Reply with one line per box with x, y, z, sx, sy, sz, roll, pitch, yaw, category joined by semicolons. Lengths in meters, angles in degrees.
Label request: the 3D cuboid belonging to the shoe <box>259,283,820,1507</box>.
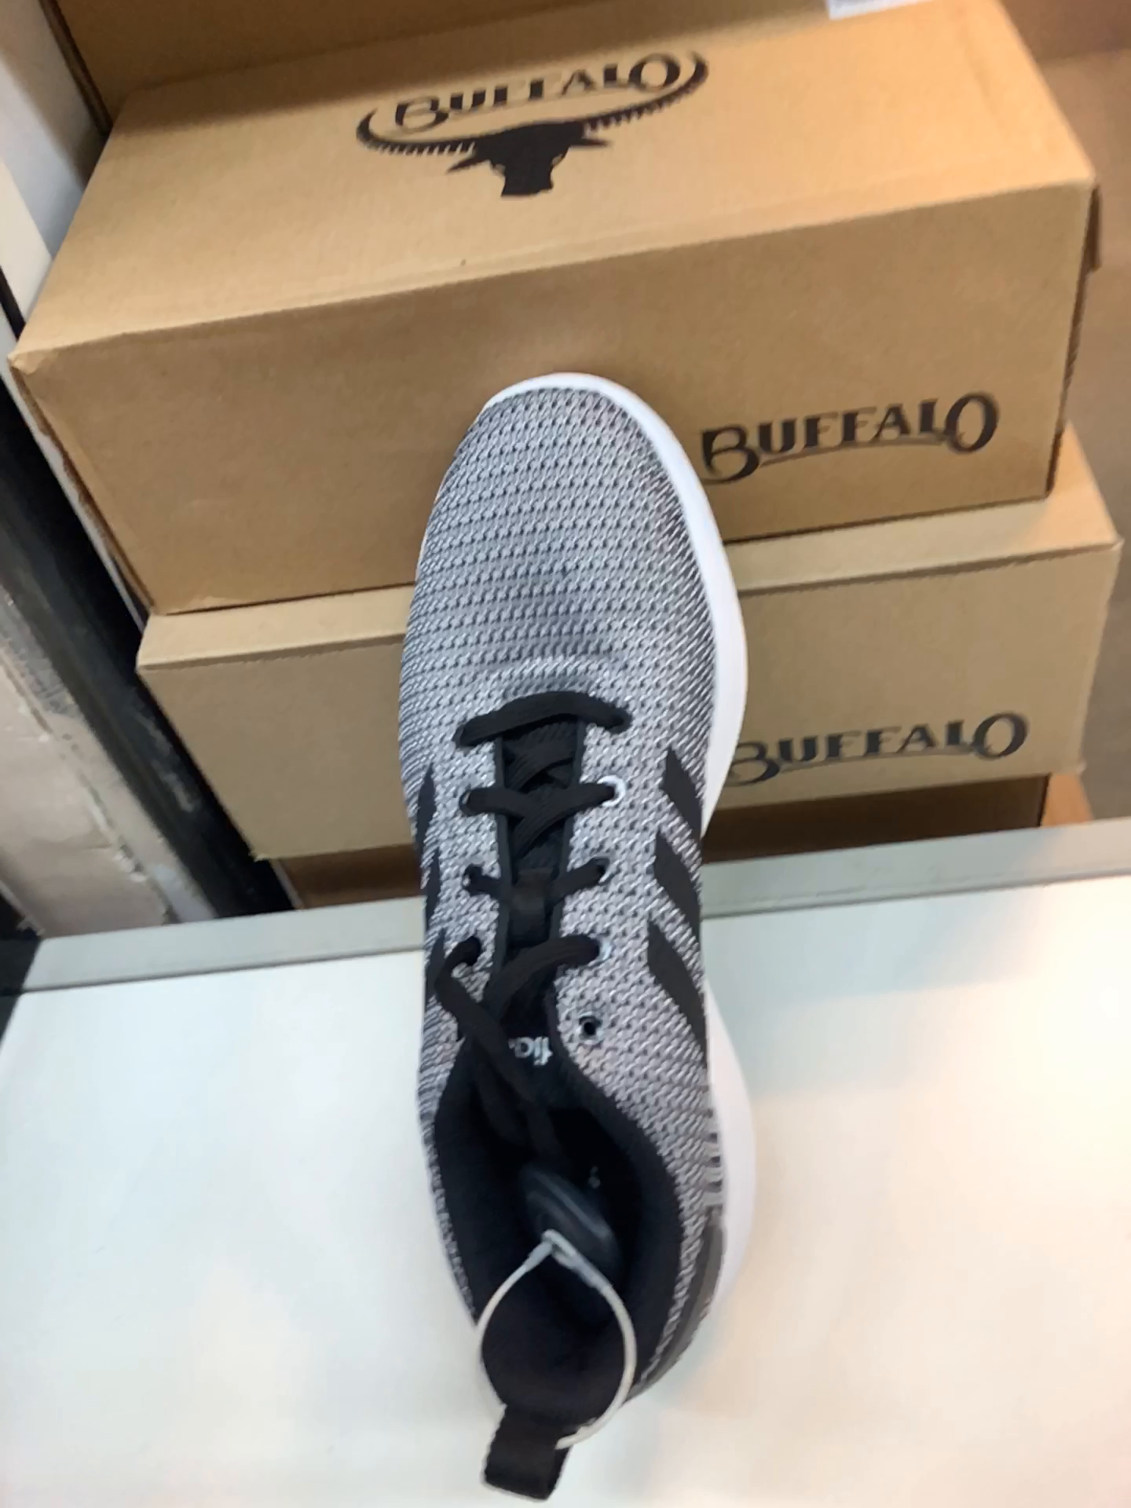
-0.003;0.037;0.342;0.112;0.098;0.282;-6;84;14;shoe
